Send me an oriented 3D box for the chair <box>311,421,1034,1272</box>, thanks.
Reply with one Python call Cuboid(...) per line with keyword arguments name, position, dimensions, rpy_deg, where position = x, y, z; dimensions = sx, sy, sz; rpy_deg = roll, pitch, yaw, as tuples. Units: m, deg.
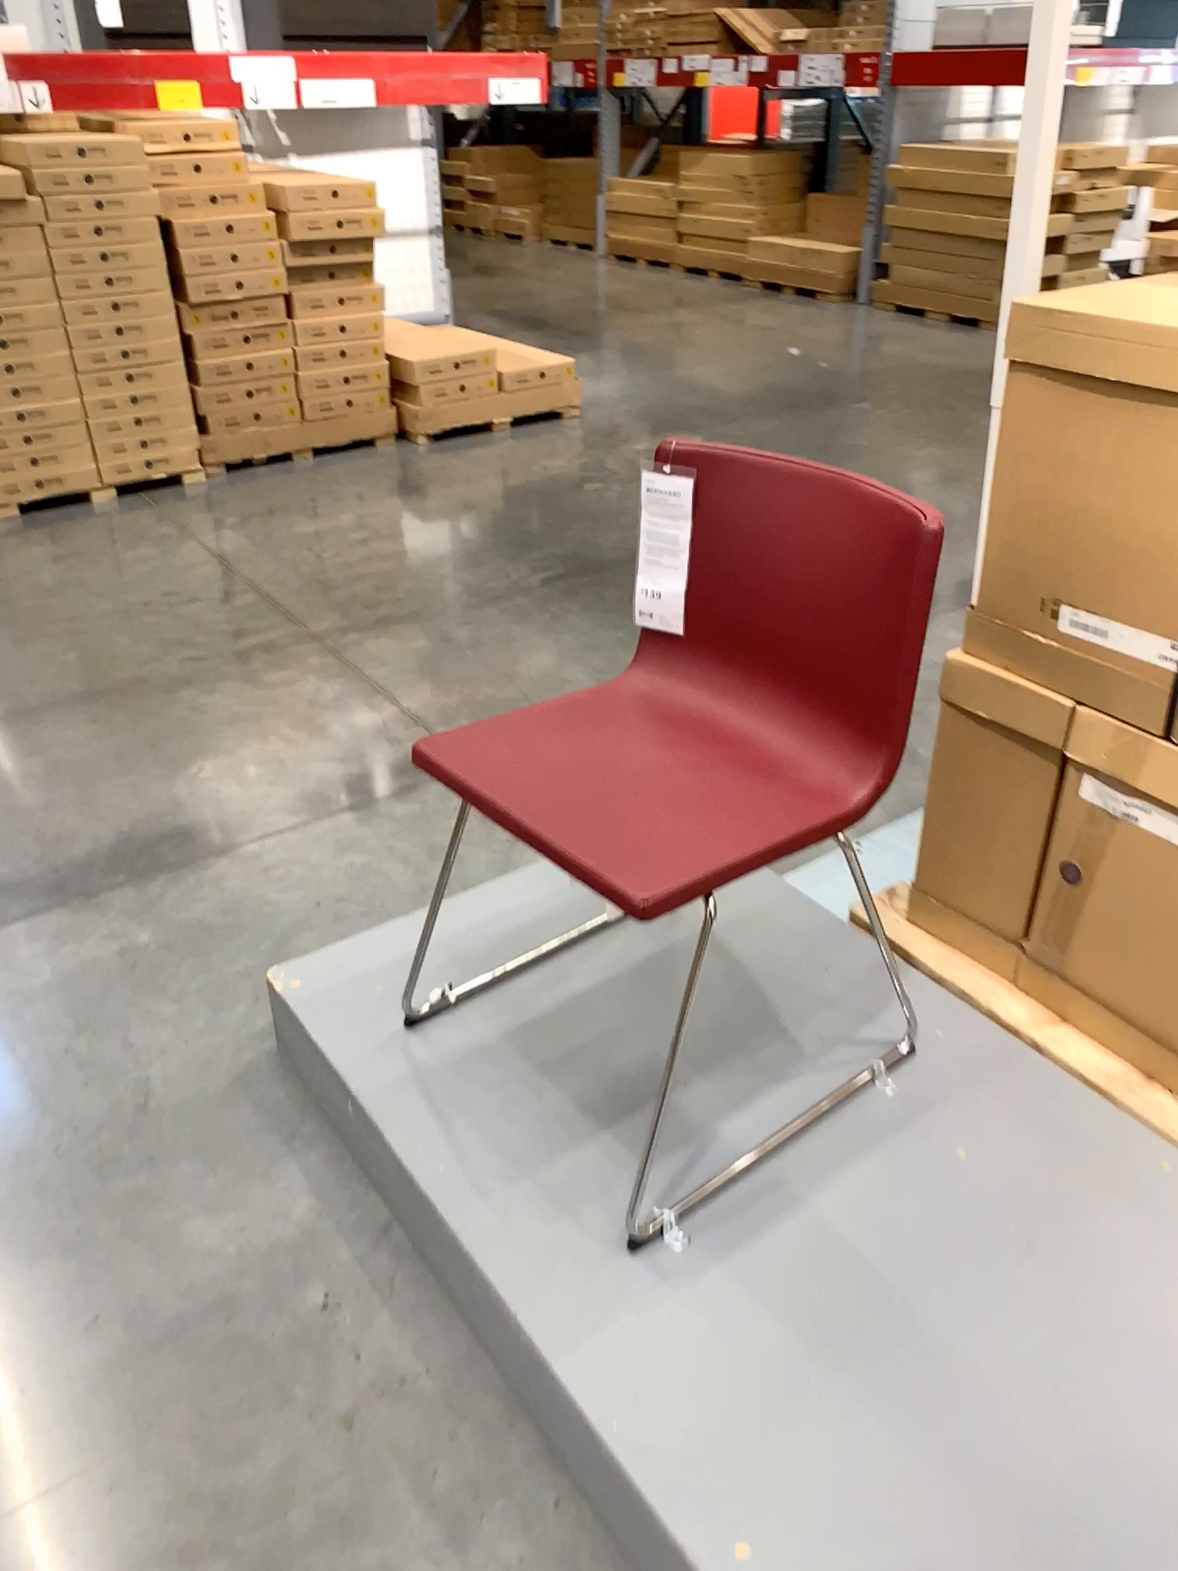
Cuboid(name="chair", position=(0.082, 0.022, 1.451), dimensions=(0.551, 0.726, 0.532), rpy_deg=(-22, 37, -32))
